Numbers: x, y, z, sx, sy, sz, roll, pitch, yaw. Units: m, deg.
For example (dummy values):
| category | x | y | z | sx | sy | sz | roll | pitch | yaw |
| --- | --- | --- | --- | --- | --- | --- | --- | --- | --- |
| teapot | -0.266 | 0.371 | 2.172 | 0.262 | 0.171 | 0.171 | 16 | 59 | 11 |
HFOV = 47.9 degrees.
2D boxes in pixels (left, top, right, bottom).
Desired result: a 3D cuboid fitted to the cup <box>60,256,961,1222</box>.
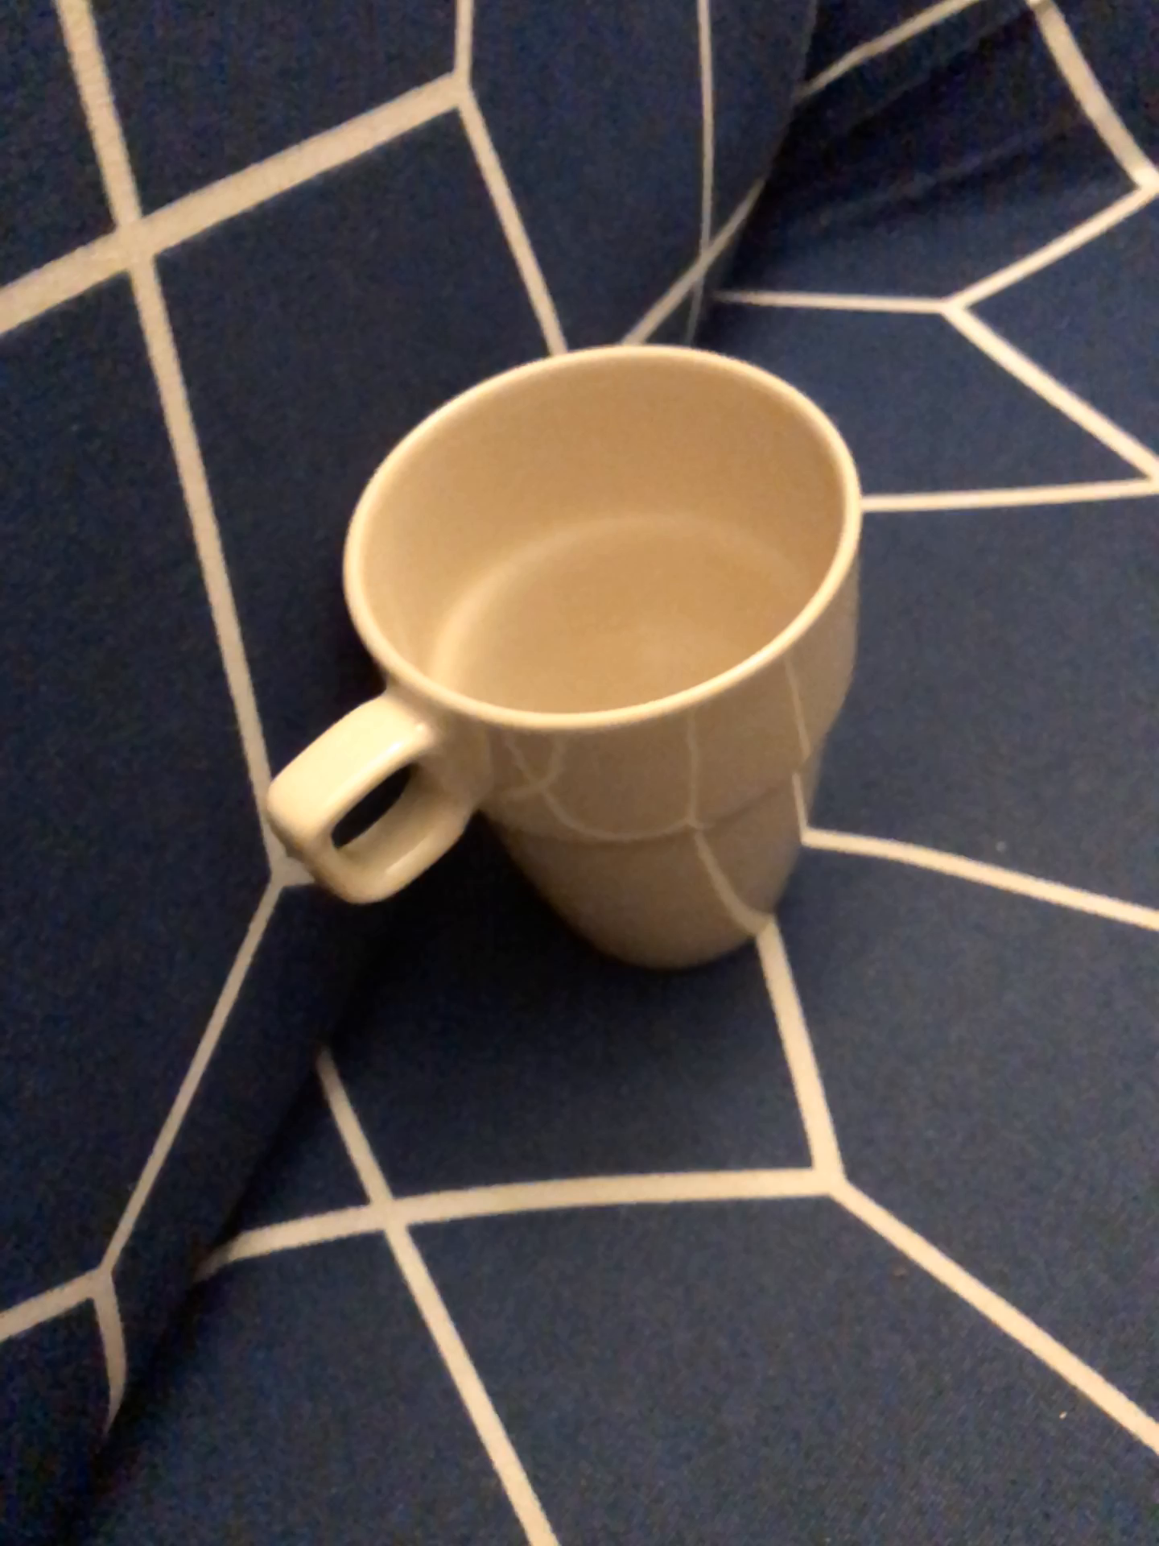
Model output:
| category | x | y | z | sx | sy | sz | roll | pitch | yaw |
| --- | --- | --- | --- | --- | --- | --- | --- | --- | --- |
| cup | -0.003 | -0.004 | 0.238 | 0.104 | 0.109 | 0.090 | -41 | 56 | -16 |
